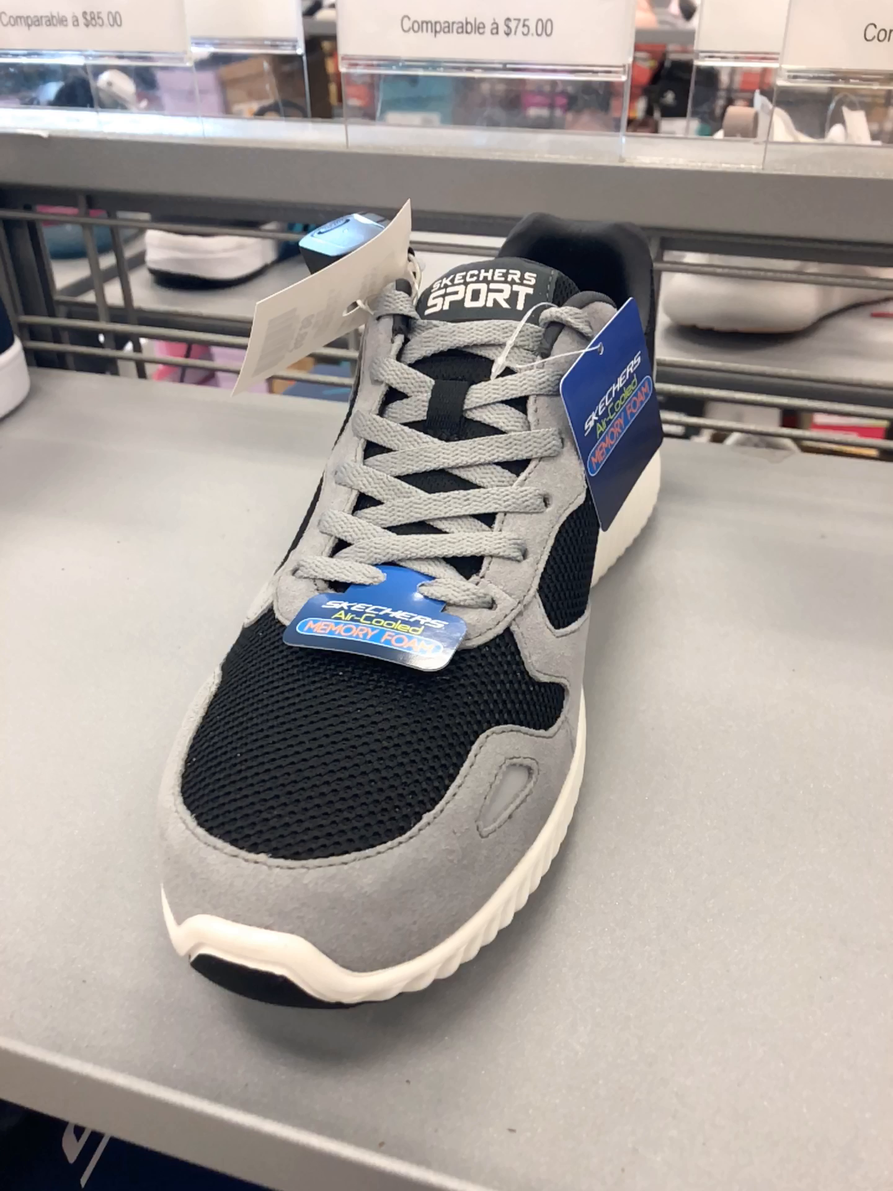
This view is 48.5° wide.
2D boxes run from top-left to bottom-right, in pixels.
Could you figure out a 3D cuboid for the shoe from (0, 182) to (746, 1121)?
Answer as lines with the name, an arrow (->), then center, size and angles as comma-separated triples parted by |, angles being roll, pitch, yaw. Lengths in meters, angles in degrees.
shoe -> 0.002, -0.030, 0.310 | 0.120, 0.119, 0.302 | 12, 36, 18
